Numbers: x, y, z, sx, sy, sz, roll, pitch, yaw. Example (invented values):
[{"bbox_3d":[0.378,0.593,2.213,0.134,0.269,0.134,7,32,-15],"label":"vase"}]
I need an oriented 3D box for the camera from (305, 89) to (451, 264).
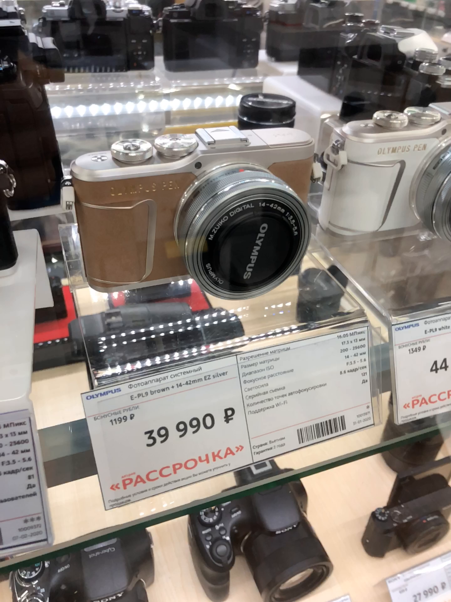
[{"bbox_3d":[0.115,-0.071,0.270,0.122,0.060,0.060,-11,39,-17],"label":"camera"}]

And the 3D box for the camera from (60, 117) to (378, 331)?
[{"bbox_3d":[-0.005,-0.040,0.231,0.122,0.060,0.060,-11,39,-17],"label":"camera"}]
